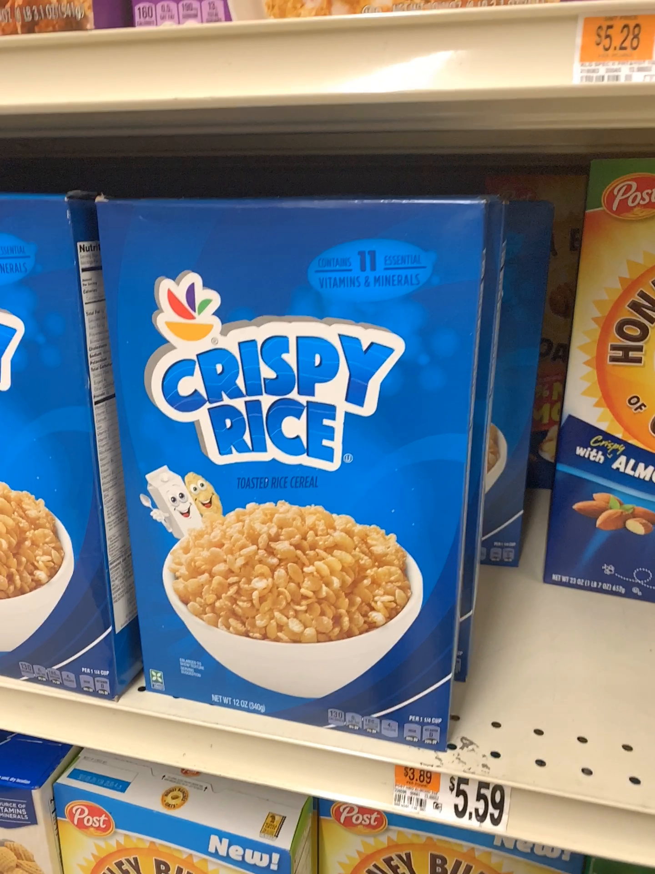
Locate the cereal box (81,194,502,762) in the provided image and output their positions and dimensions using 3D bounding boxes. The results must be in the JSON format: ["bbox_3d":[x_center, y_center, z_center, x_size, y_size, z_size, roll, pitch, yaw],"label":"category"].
[{"bbox_3d":[-0.017,0.023,0.406,0.210,0.319,0.070,5,20,14],"label":"cereal box"}]
